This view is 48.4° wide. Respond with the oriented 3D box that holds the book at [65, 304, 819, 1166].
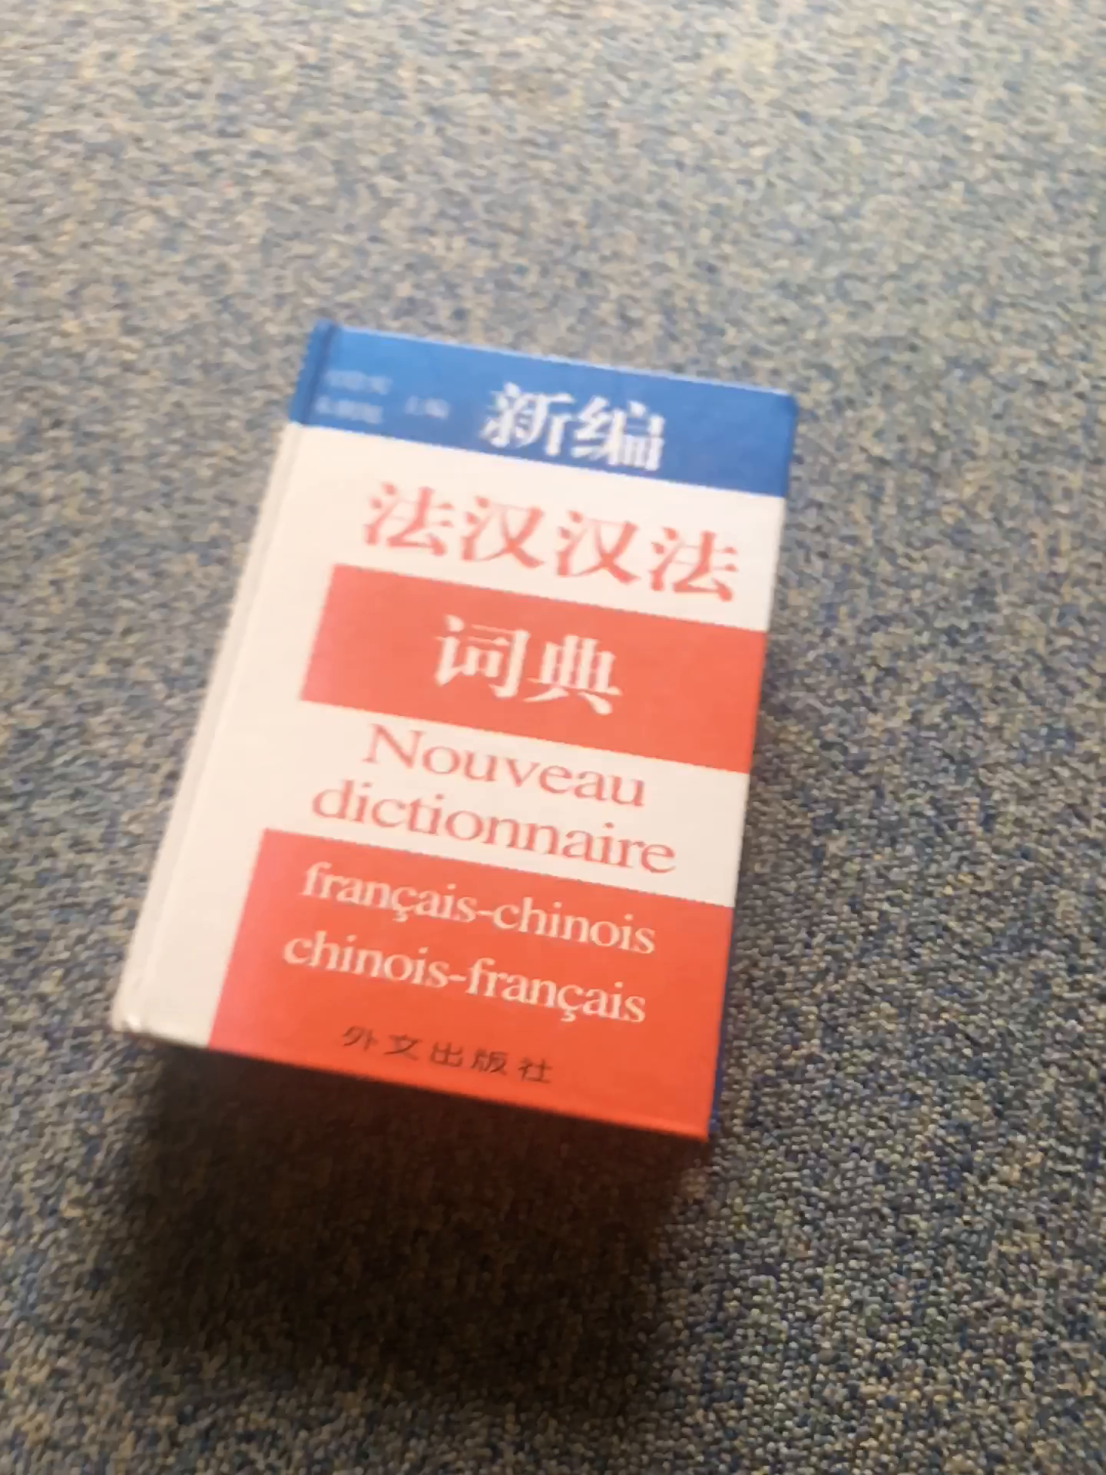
[{"bbox_3d":[-0.019,-0.008,0.327,0.152,0.034,0.209,9,71,3],"label":"book"}]
